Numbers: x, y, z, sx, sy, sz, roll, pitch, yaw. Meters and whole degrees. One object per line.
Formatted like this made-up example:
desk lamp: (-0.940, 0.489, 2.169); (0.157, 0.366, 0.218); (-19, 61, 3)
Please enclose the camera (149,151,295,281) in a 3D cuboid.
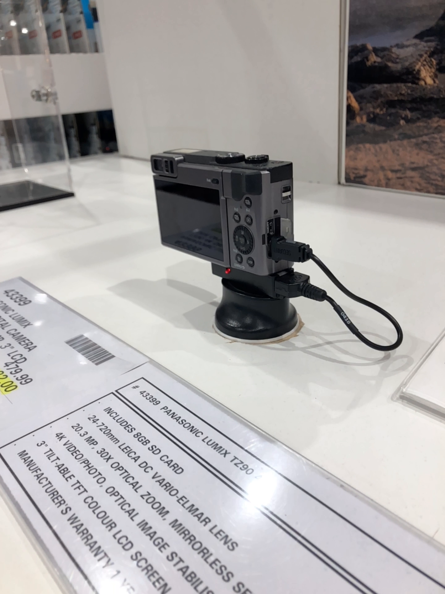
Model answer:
camera: (-0.003, -0.058, 0.326); (0.030, 0.065, 0.107); (-21, 28, -35)
